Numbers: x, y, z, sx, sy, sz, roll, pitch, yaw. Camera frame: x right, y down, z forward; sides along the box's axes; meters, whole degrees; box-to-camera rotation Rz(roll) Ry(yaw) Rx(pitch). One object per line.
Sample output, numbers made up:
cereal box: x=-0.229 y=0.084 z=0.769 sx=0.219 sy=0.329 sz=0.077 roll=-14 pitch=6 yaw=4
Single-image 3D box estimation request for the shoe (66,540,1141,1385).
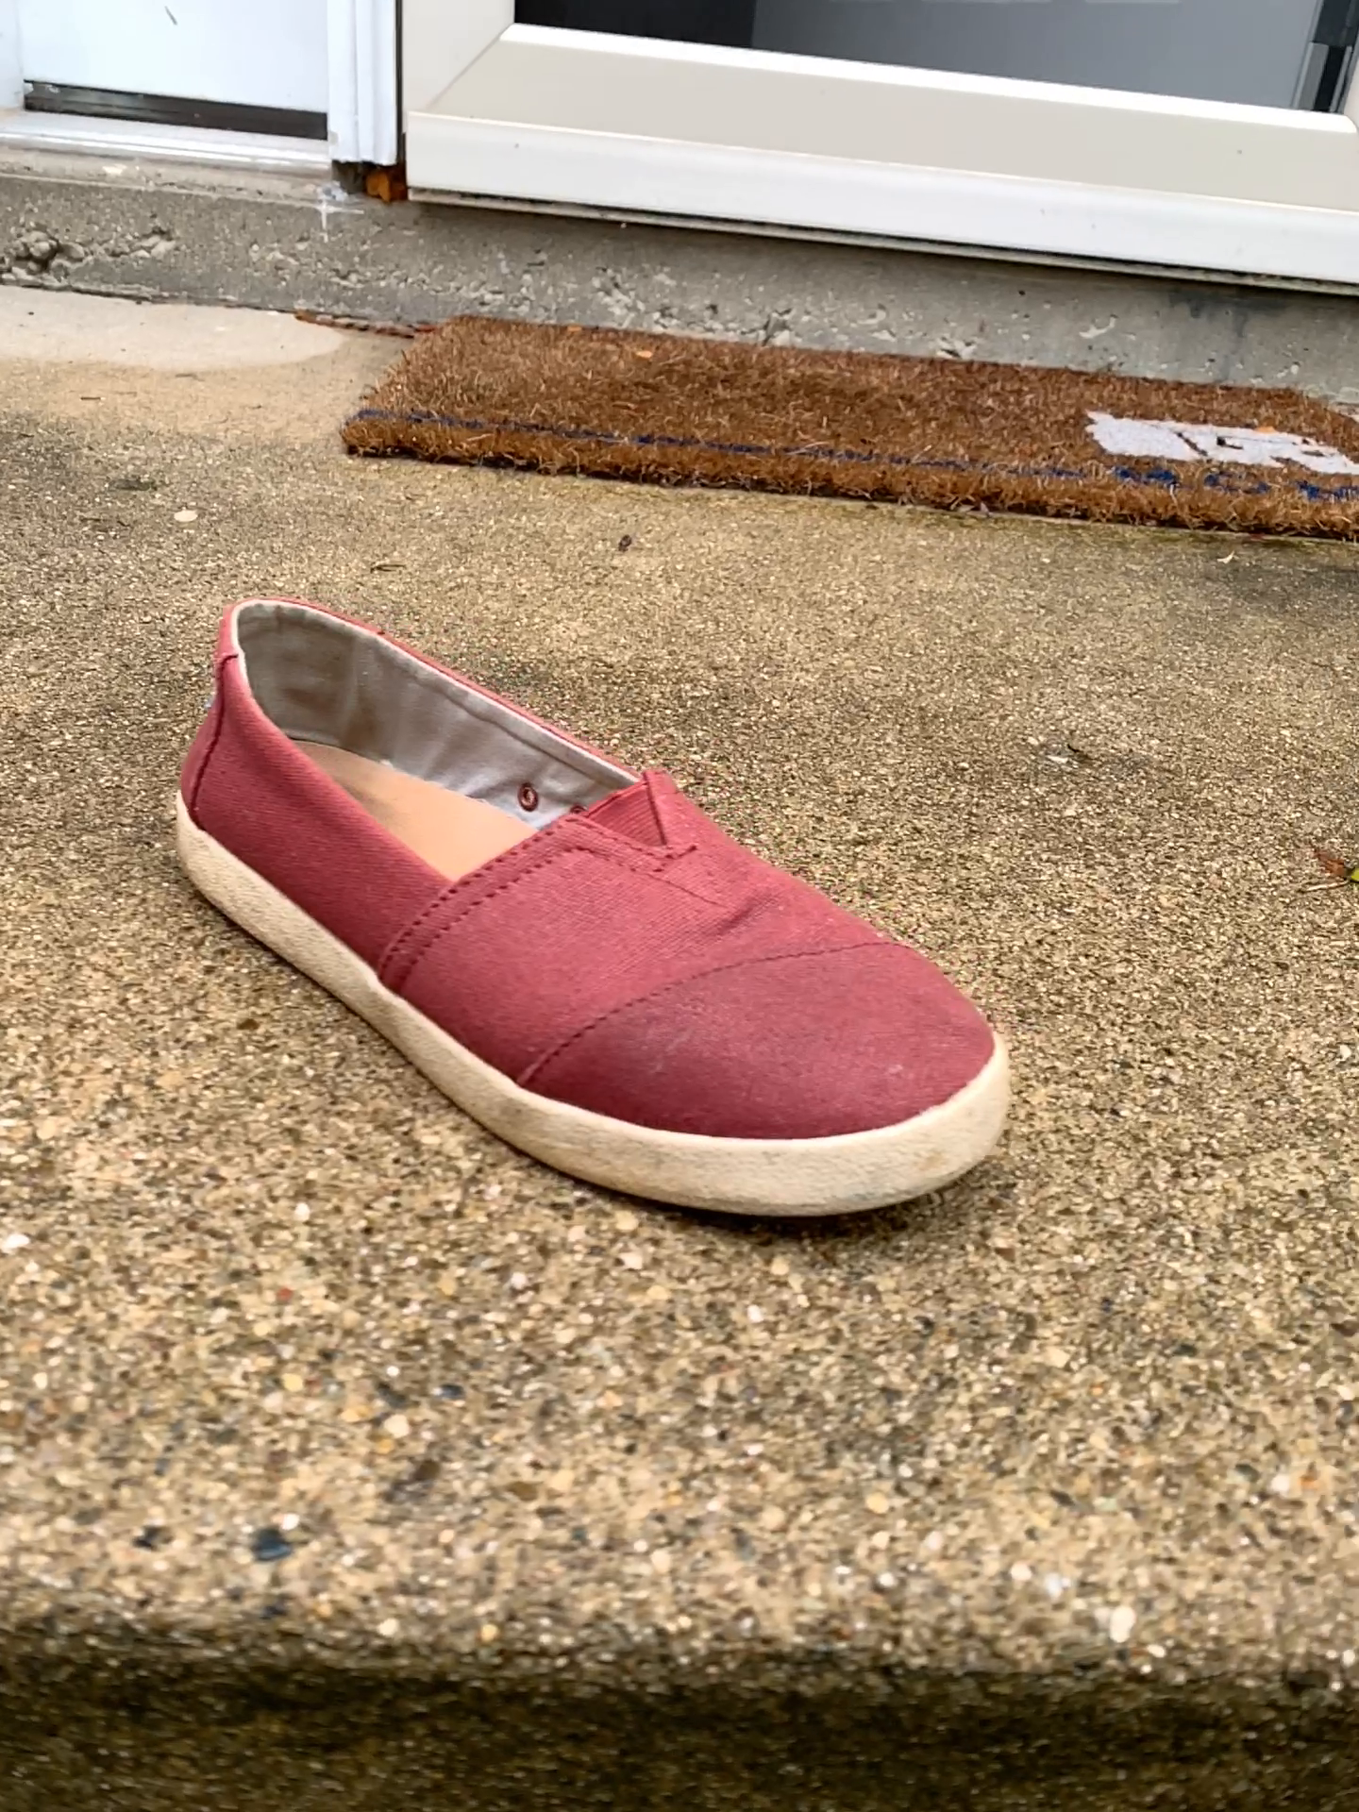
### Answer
shoe: x=-0.036 y=-0.010 z=0.360 sx=0.265 sy=0.089 sz=0.098 roll=27 pitch=35 yaw=31
